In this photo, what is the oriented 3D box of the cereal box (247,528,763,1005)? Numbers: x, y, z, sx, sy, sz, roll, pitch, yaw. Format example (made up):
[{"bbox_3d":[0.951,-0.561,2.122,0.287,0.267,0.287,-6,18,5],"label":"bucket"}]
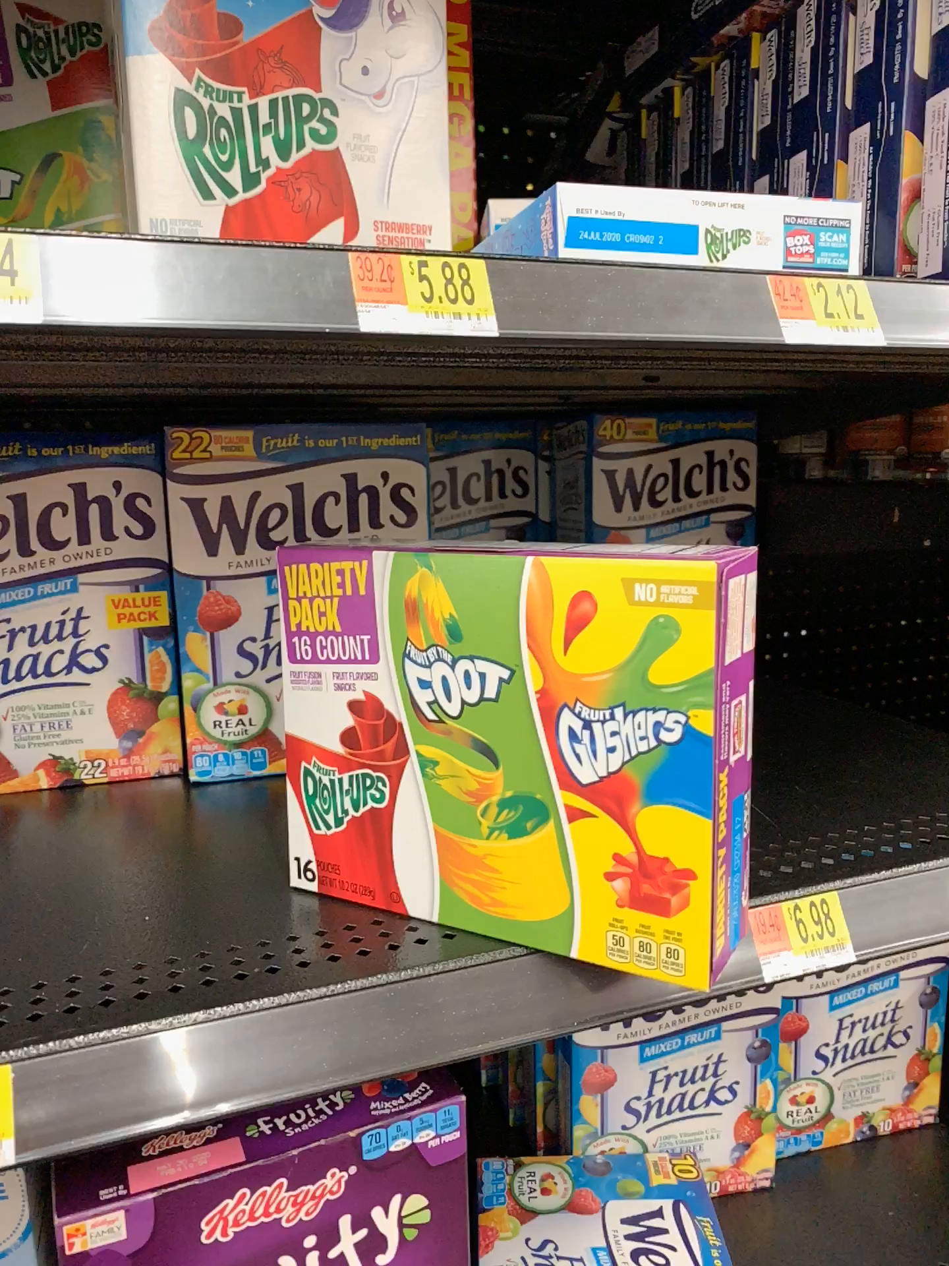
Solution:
[{"bbox_3d":[0.007,0.044,0.435,0.220,0.170,0.060,5,11,29],"label":"cereal box"}]
